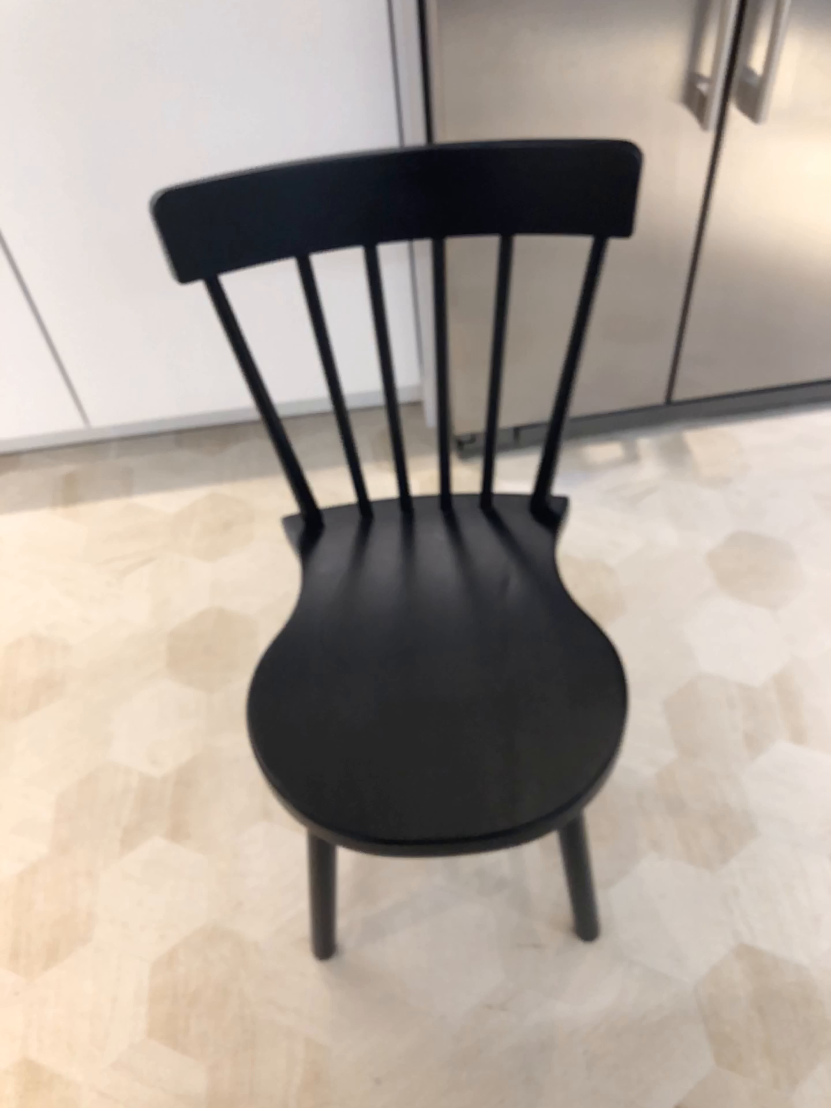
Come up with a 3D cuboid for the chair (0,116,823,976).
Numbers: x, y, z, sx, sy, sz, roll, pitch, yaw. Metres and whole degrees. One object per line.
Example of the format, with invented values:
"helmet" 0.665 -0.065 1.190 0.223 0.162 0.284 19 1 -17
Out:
"chair" 0.000 0.056 0.963 0.480 0.746 0.513 -4 51 2
